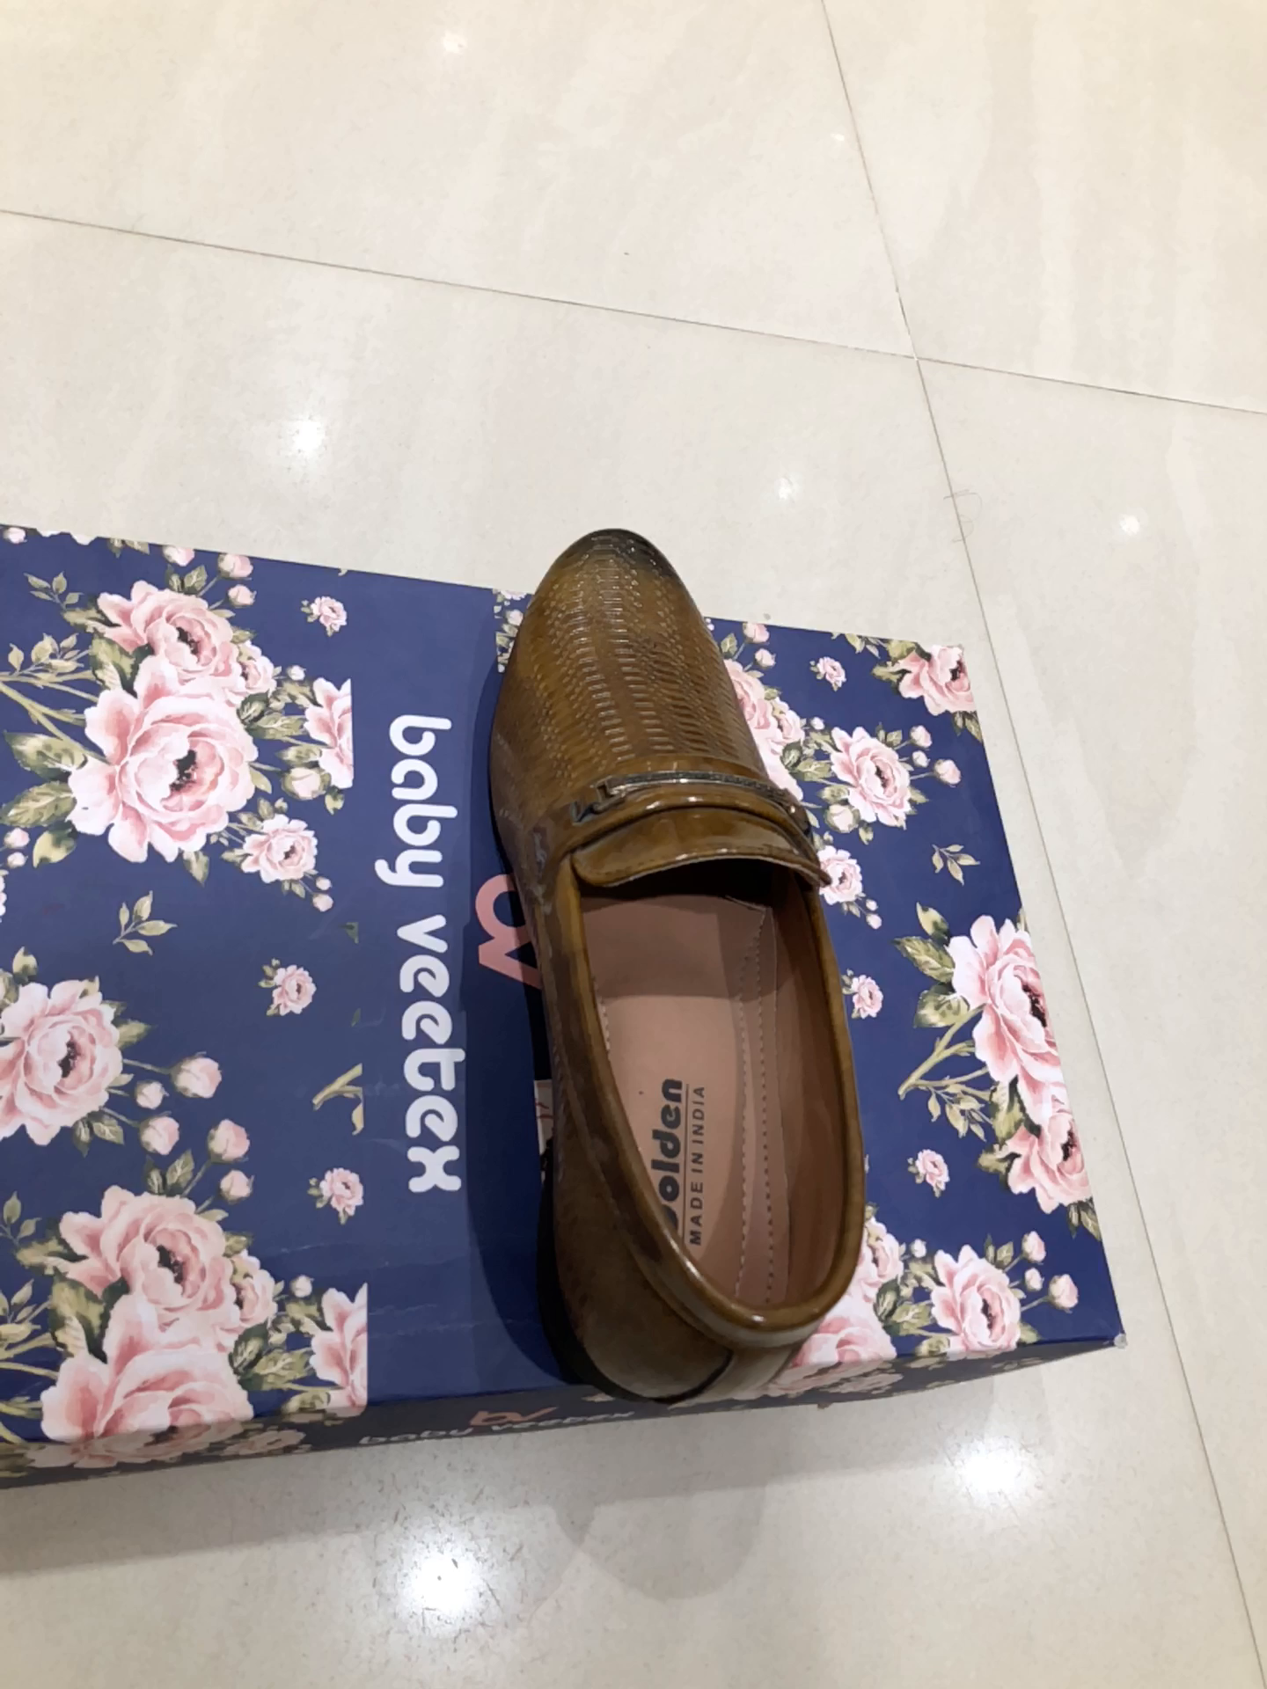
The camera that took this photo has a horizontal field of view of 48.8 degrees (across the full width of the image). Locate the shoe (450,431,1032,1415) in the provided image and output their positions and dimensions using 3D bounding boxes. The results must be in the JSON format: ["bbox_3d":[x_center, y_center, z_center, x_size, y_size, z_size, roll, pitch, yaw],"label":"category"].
[{"bbox_3d":[0.014,0.019,0.336,0.090,0.080,0.211,3,67,-22],"label":"shoe"}]
